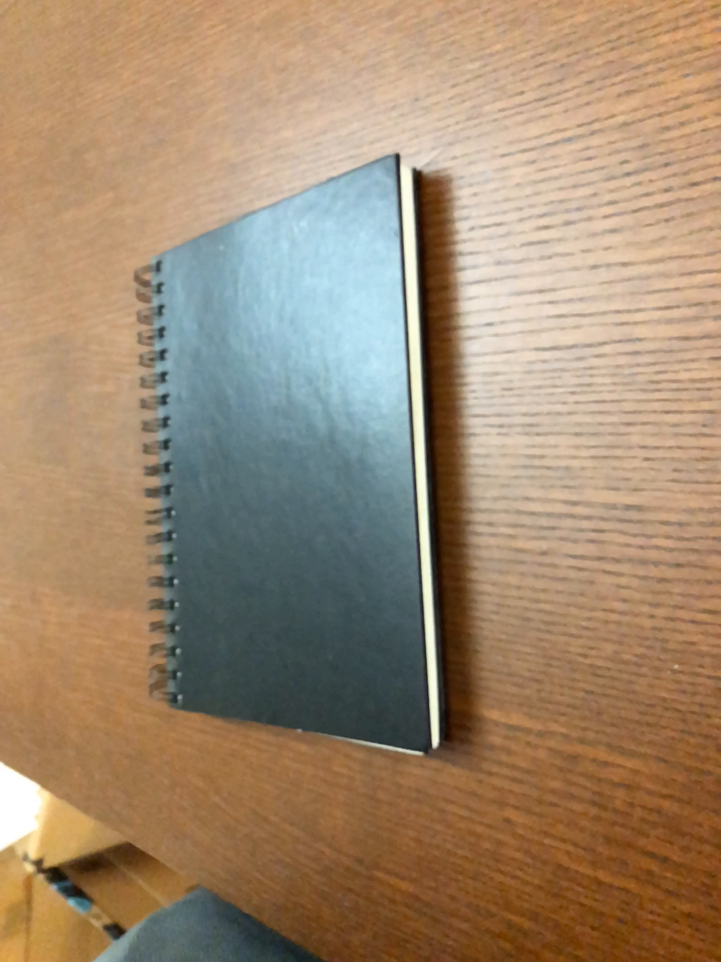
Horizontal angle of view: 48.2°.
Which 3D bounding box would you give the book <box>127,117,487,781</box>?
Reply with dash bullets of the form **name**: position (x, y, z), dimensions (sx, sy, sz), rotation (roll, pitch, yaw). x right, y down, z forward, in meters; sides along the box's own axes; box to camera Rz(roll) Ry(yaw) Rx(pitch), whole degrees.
- **book**: position (-0.040, -0.007, 0.392), dimensions (0.201, 0.030, 0.260), rotation (-7, 85, 42)
